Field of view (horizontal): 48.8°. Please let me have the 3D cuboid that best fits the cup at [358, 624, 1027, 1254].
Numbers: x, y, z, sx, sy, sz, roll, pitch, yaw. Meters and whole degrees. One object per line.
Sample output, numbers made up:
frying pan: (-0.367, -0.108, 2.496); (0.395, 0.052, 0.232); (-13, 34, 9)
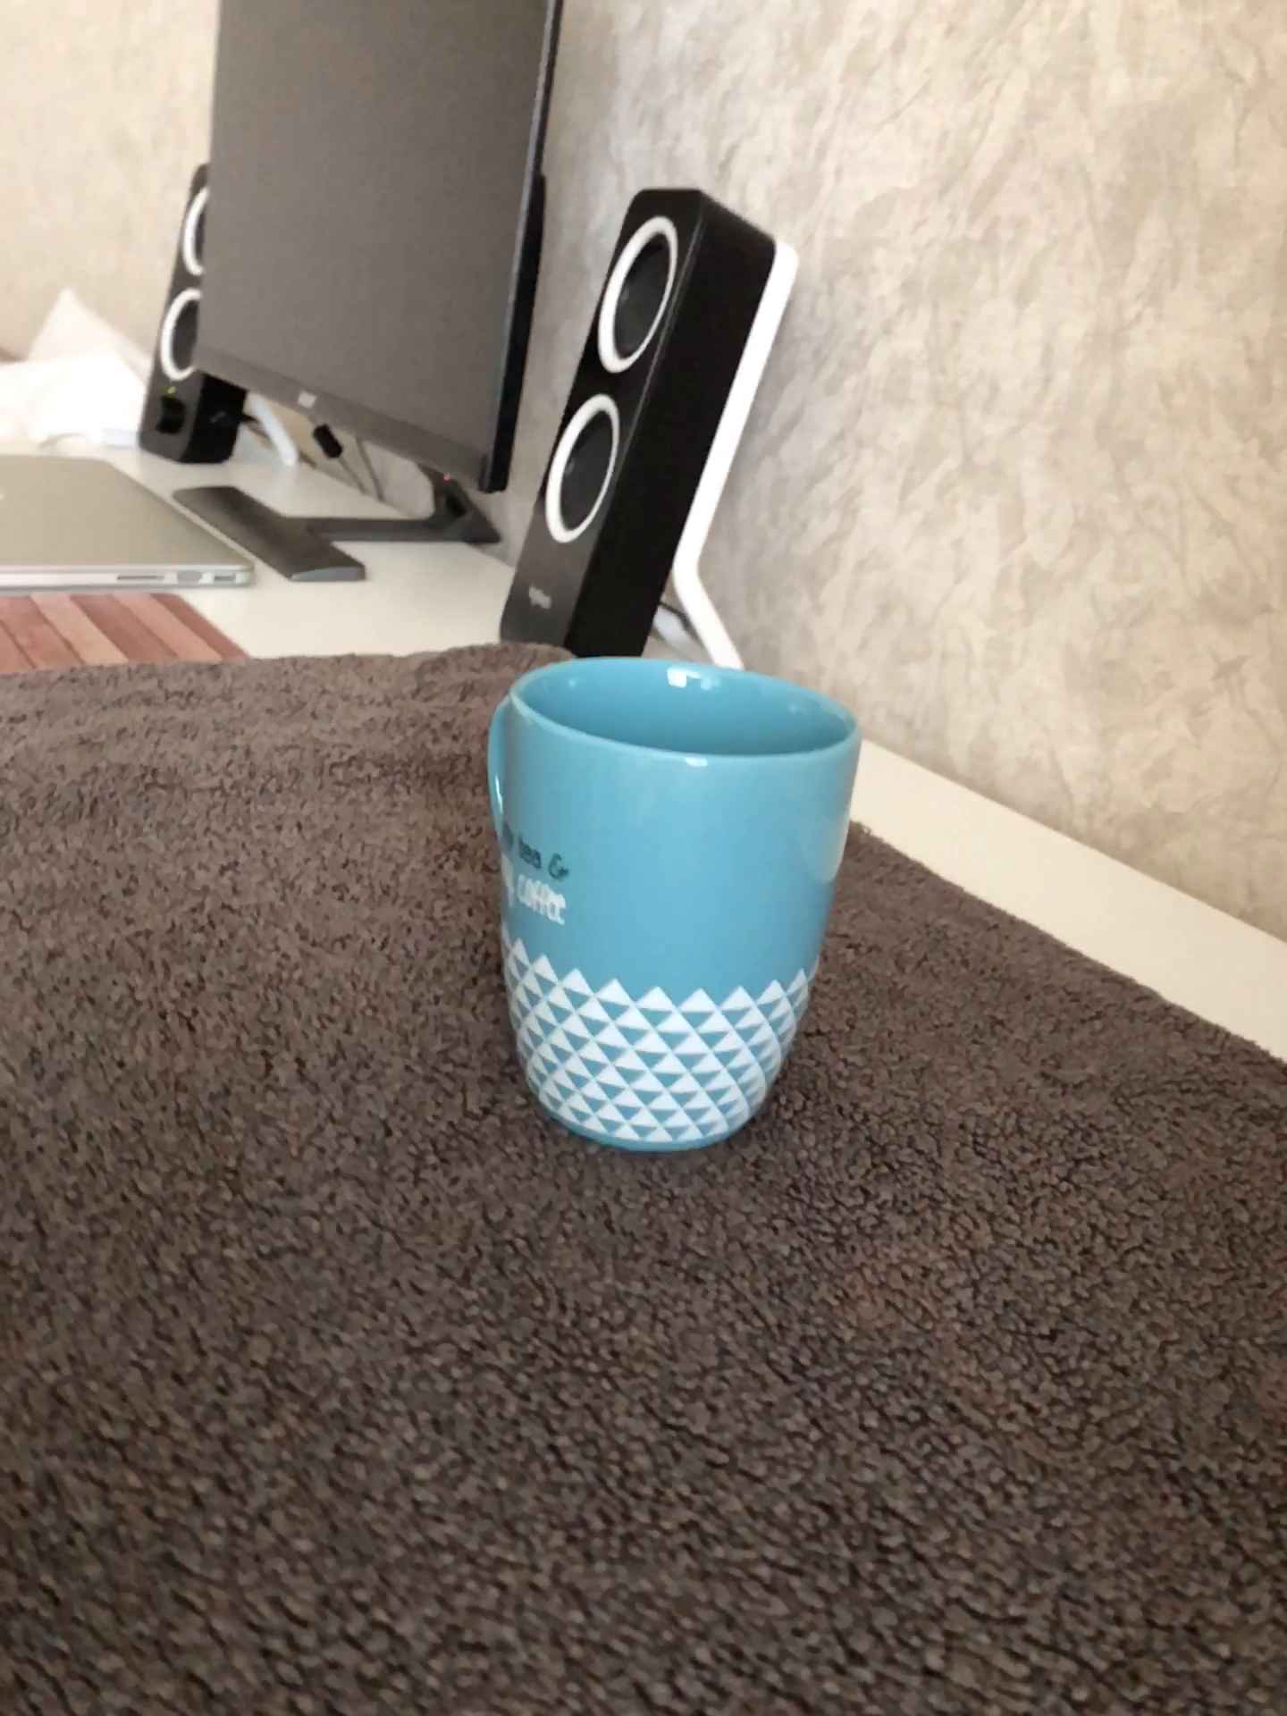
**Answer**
cup: (0.003, 0.007, 0.333); (0.087, 0.090, 0.126); (-10, 28, -37)
